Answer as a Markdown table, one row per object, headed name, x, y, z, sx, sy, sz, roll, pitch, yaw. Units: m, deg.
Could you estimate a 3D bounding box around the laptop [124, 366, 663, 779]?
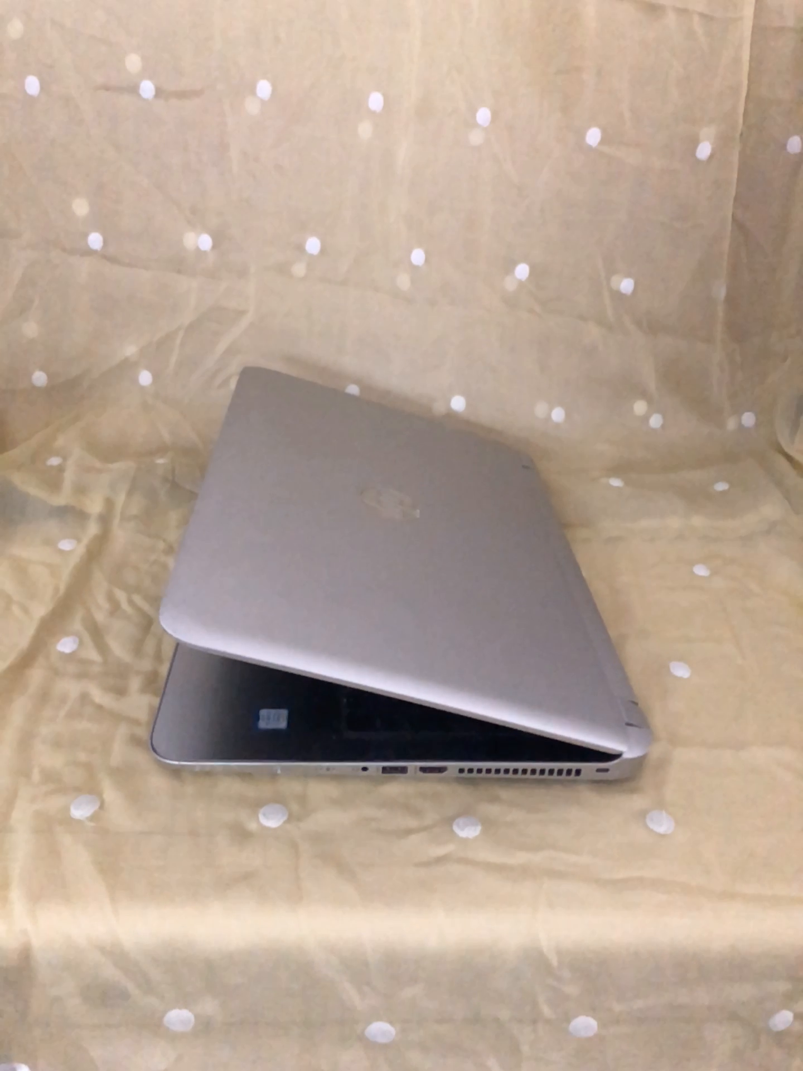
| name | x | y | z | sx | sy | sz | roll | pitch | yaw |
| --- | --- | --- | --- | --- | --- | --- | --- | --- | --- |
| laptop | -0.011 | -0.007 | 0.575 | 0.243 | 0.077 | 0.367 | 2 | 29 | -4 |
